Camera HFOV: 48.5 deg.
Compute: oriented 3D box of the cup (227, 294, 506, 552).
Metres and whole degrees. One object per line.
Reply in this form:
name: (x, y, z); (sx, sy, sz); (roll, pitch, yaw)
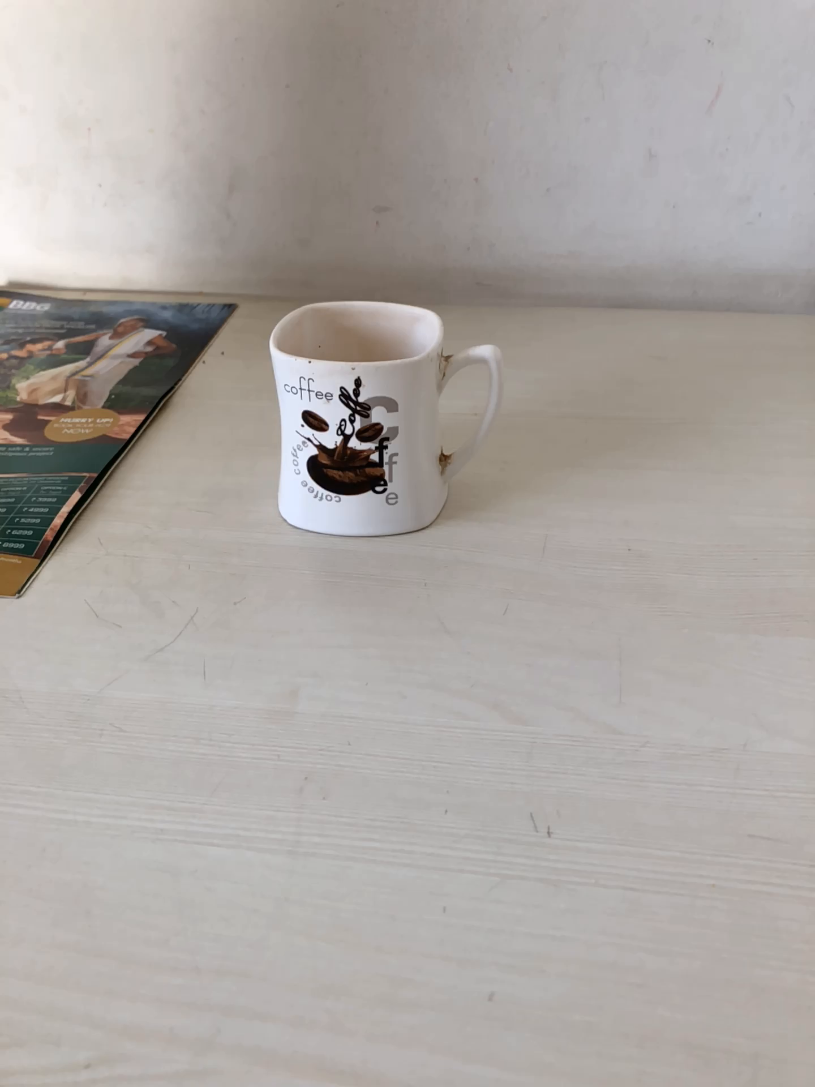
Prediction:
cup: (-0.010, -0.047, 0.337); (0.090, 0.070, 0.070); (2, 33, 5)
